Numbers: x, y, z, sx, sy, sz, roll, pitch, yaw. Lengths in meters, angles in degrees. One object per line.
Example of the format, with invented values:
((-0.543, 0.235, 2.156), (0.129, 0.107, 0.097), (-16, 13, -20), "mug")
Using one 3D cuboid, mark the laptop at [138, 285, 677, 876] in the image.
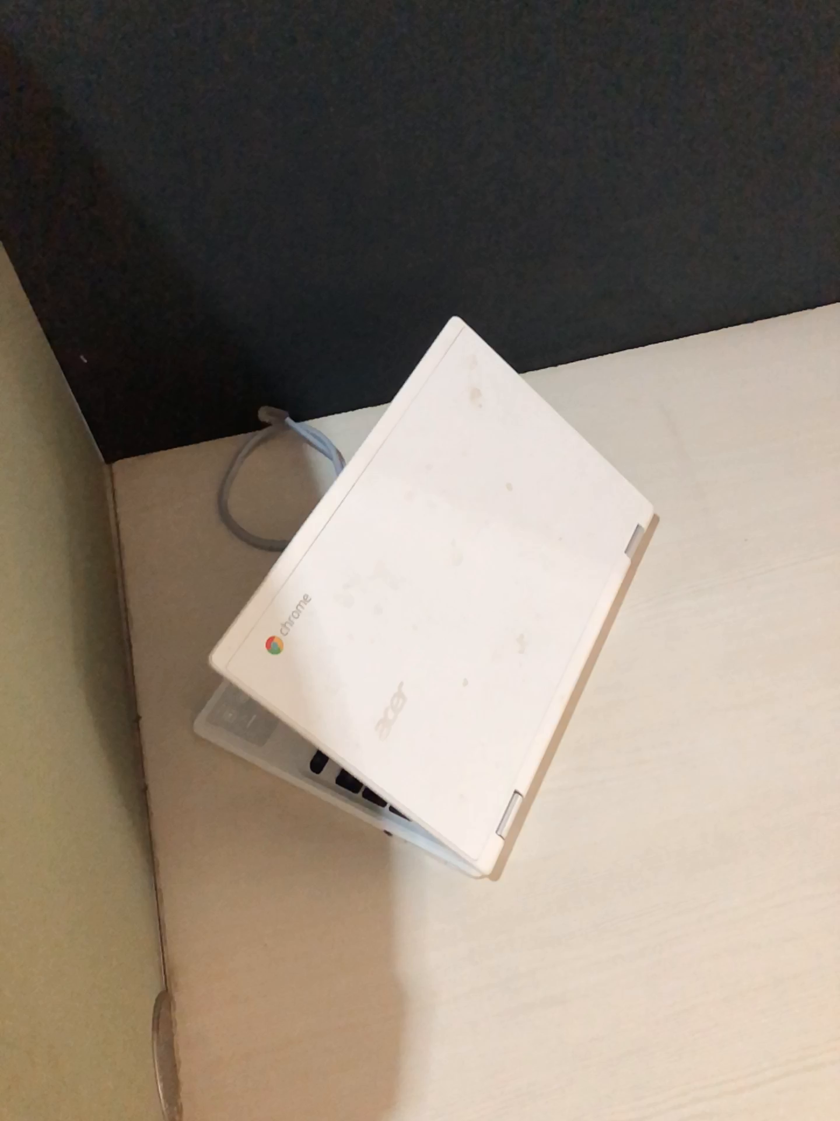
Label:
((0.010, -0.003, 0.553), (0.187, 0.114, 0.286), (22, 59, 15), "laptop")
